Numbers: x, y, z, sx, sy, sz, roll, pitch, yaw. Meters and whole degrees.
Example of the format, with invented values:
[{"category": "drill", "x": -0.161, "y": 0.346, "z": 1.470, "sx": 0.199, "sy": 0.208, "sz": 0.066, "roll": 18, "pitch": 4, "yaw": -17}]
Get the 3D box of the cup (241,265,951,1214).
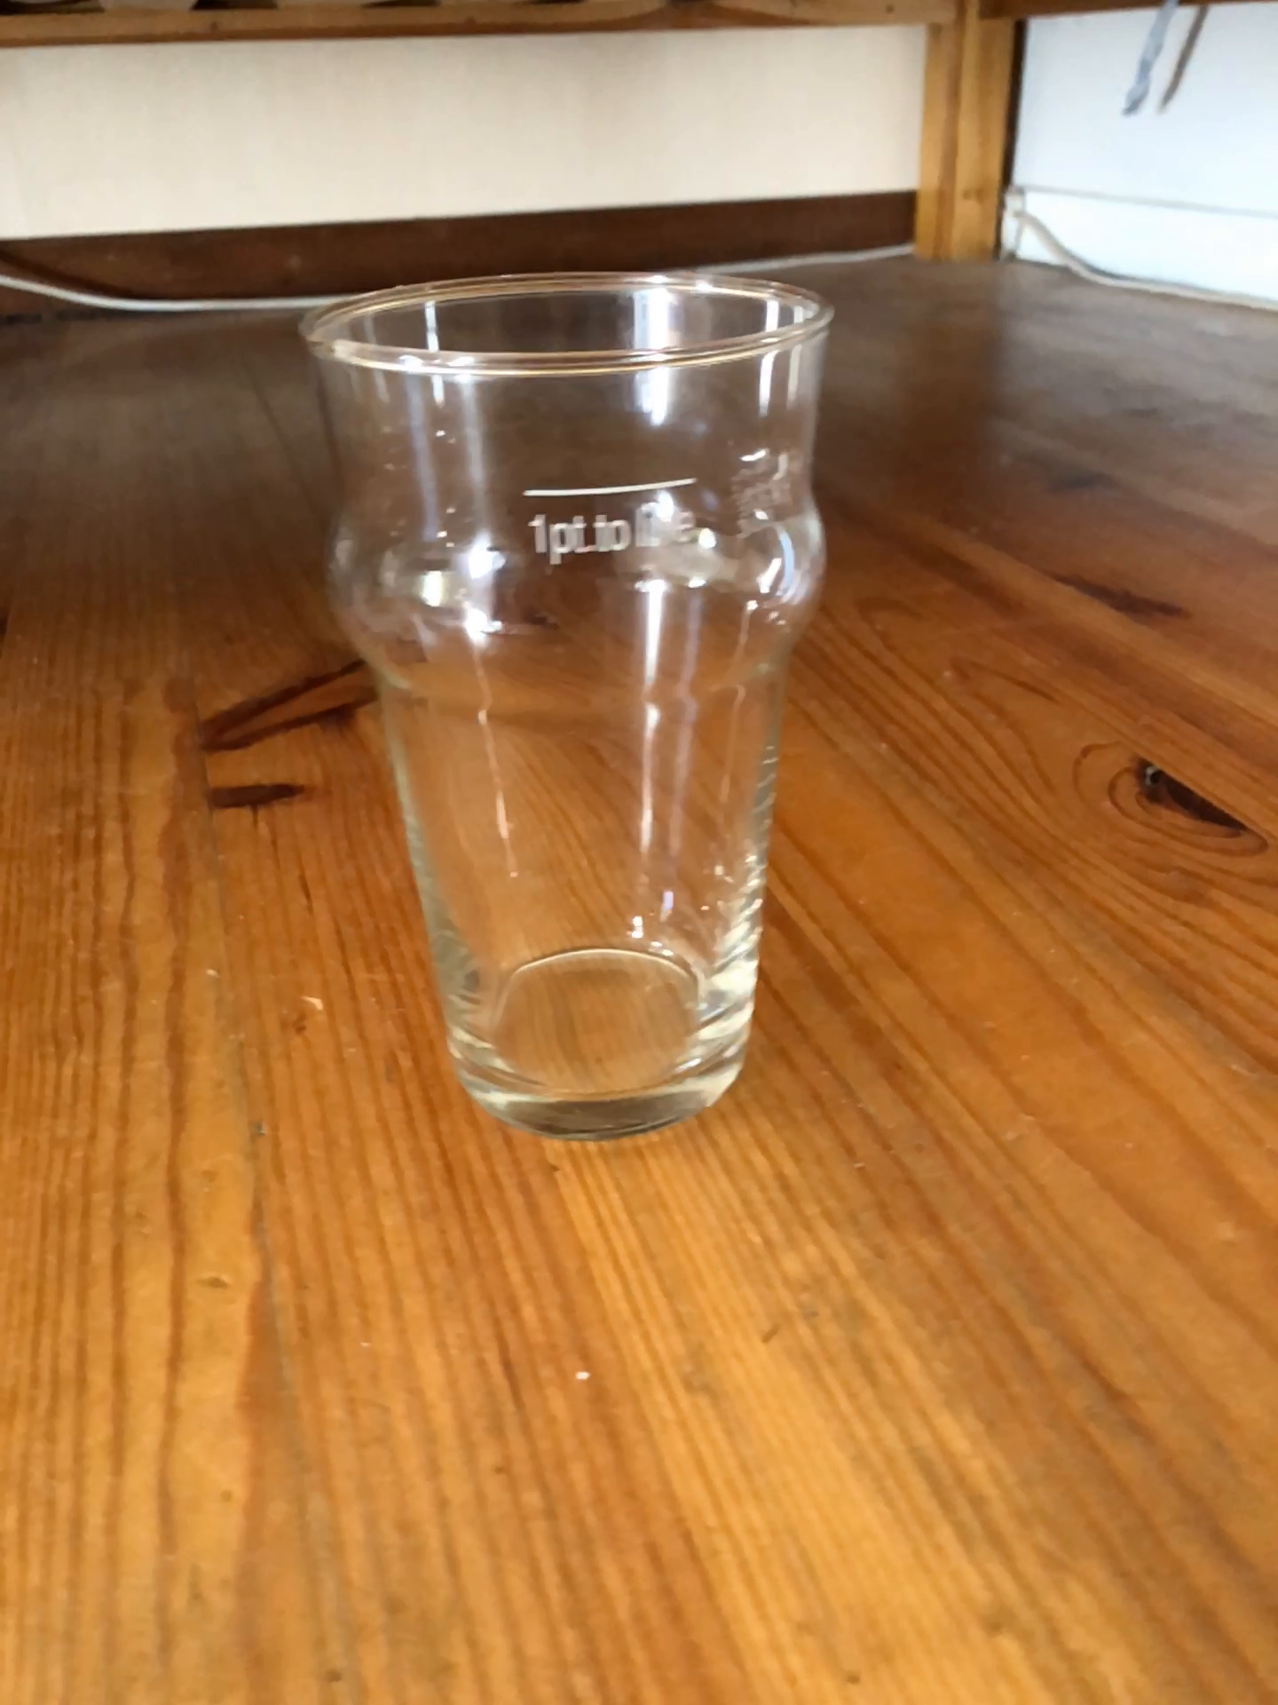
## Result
[{"category": "cup", "x": -0.012, "y": -0.028, "z": 0.288, "sx": 0.095, "sy": 0.151, "sz": 0.092, "roll": 0, "pitch": 31, "yaw": 0}]
